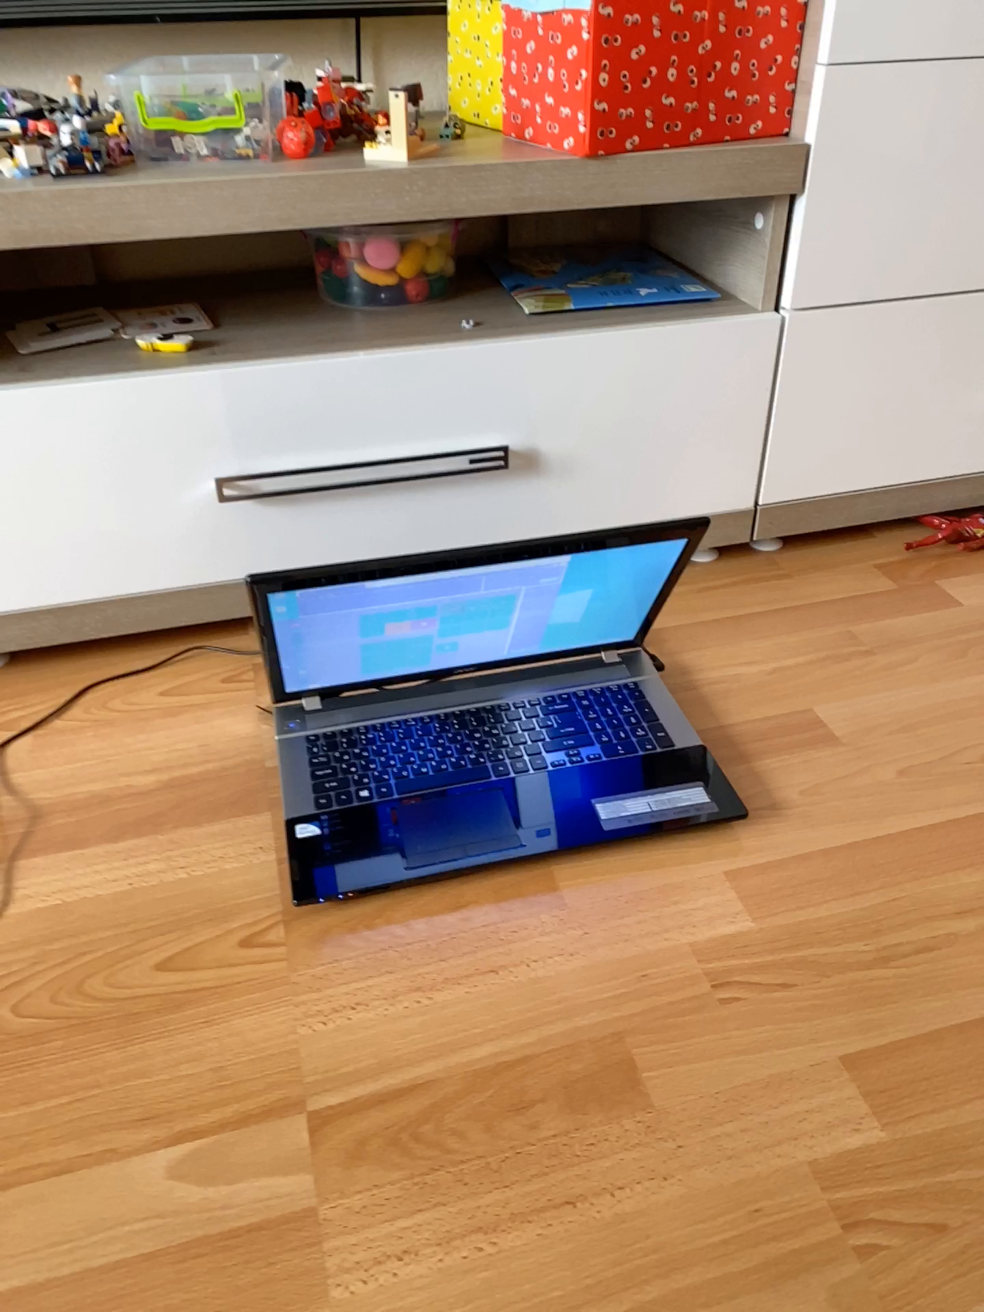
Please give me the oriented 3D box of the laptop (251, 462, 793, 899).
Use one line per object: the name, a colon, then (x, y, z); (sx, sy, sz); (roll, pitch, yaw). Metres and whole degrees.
laptop: (0.006, 0.004, 0.918); (0.412, 0.233, 0.270); (-8, 34, -11)
